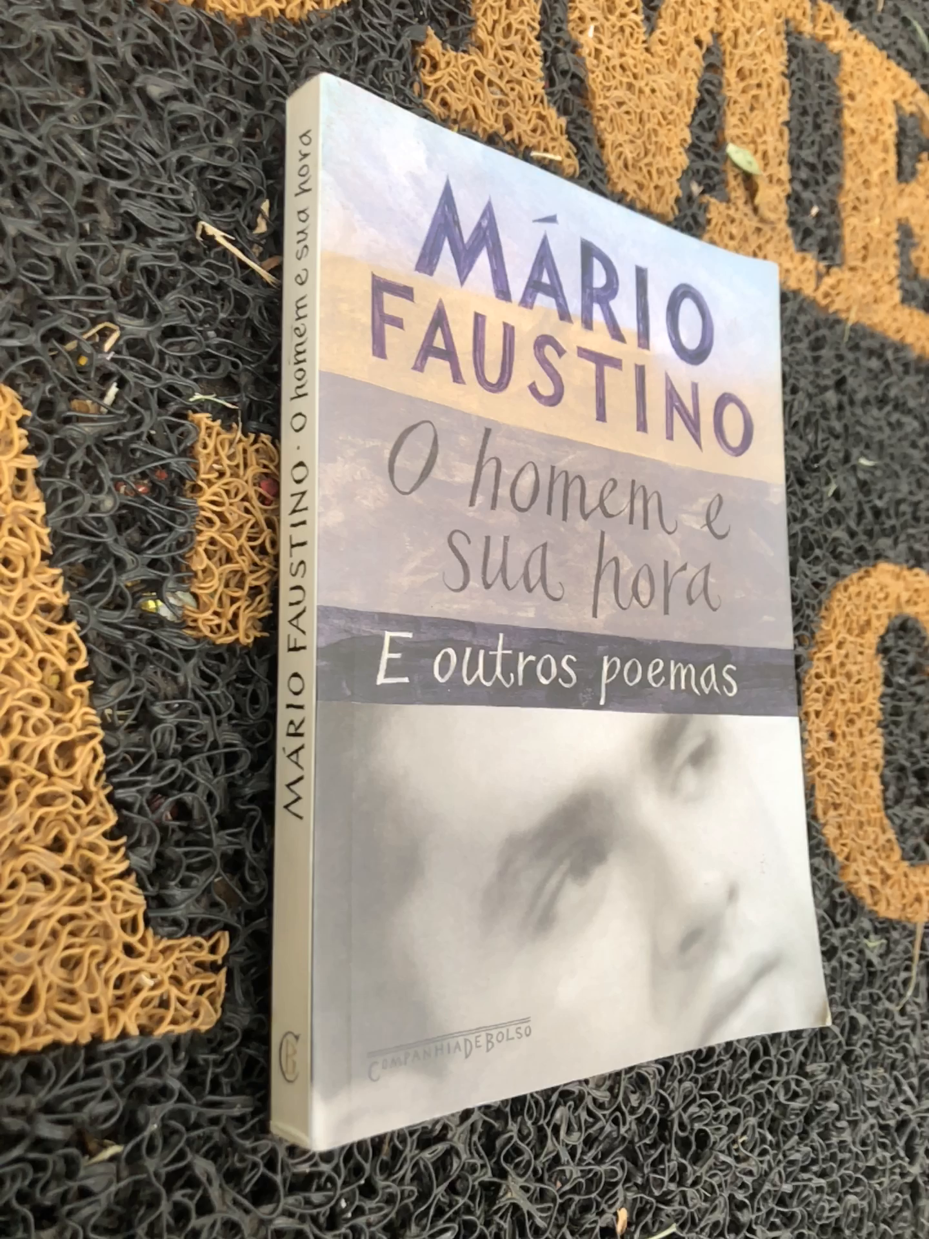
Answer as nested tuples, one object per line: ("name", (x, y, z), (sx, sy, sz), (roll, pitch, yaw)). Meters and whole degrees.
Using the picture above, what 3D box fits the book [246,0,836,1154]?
("book", (0.022, -0.007, 0.199), (0.125, 0.020, 0.174), (5, 81, -37))
